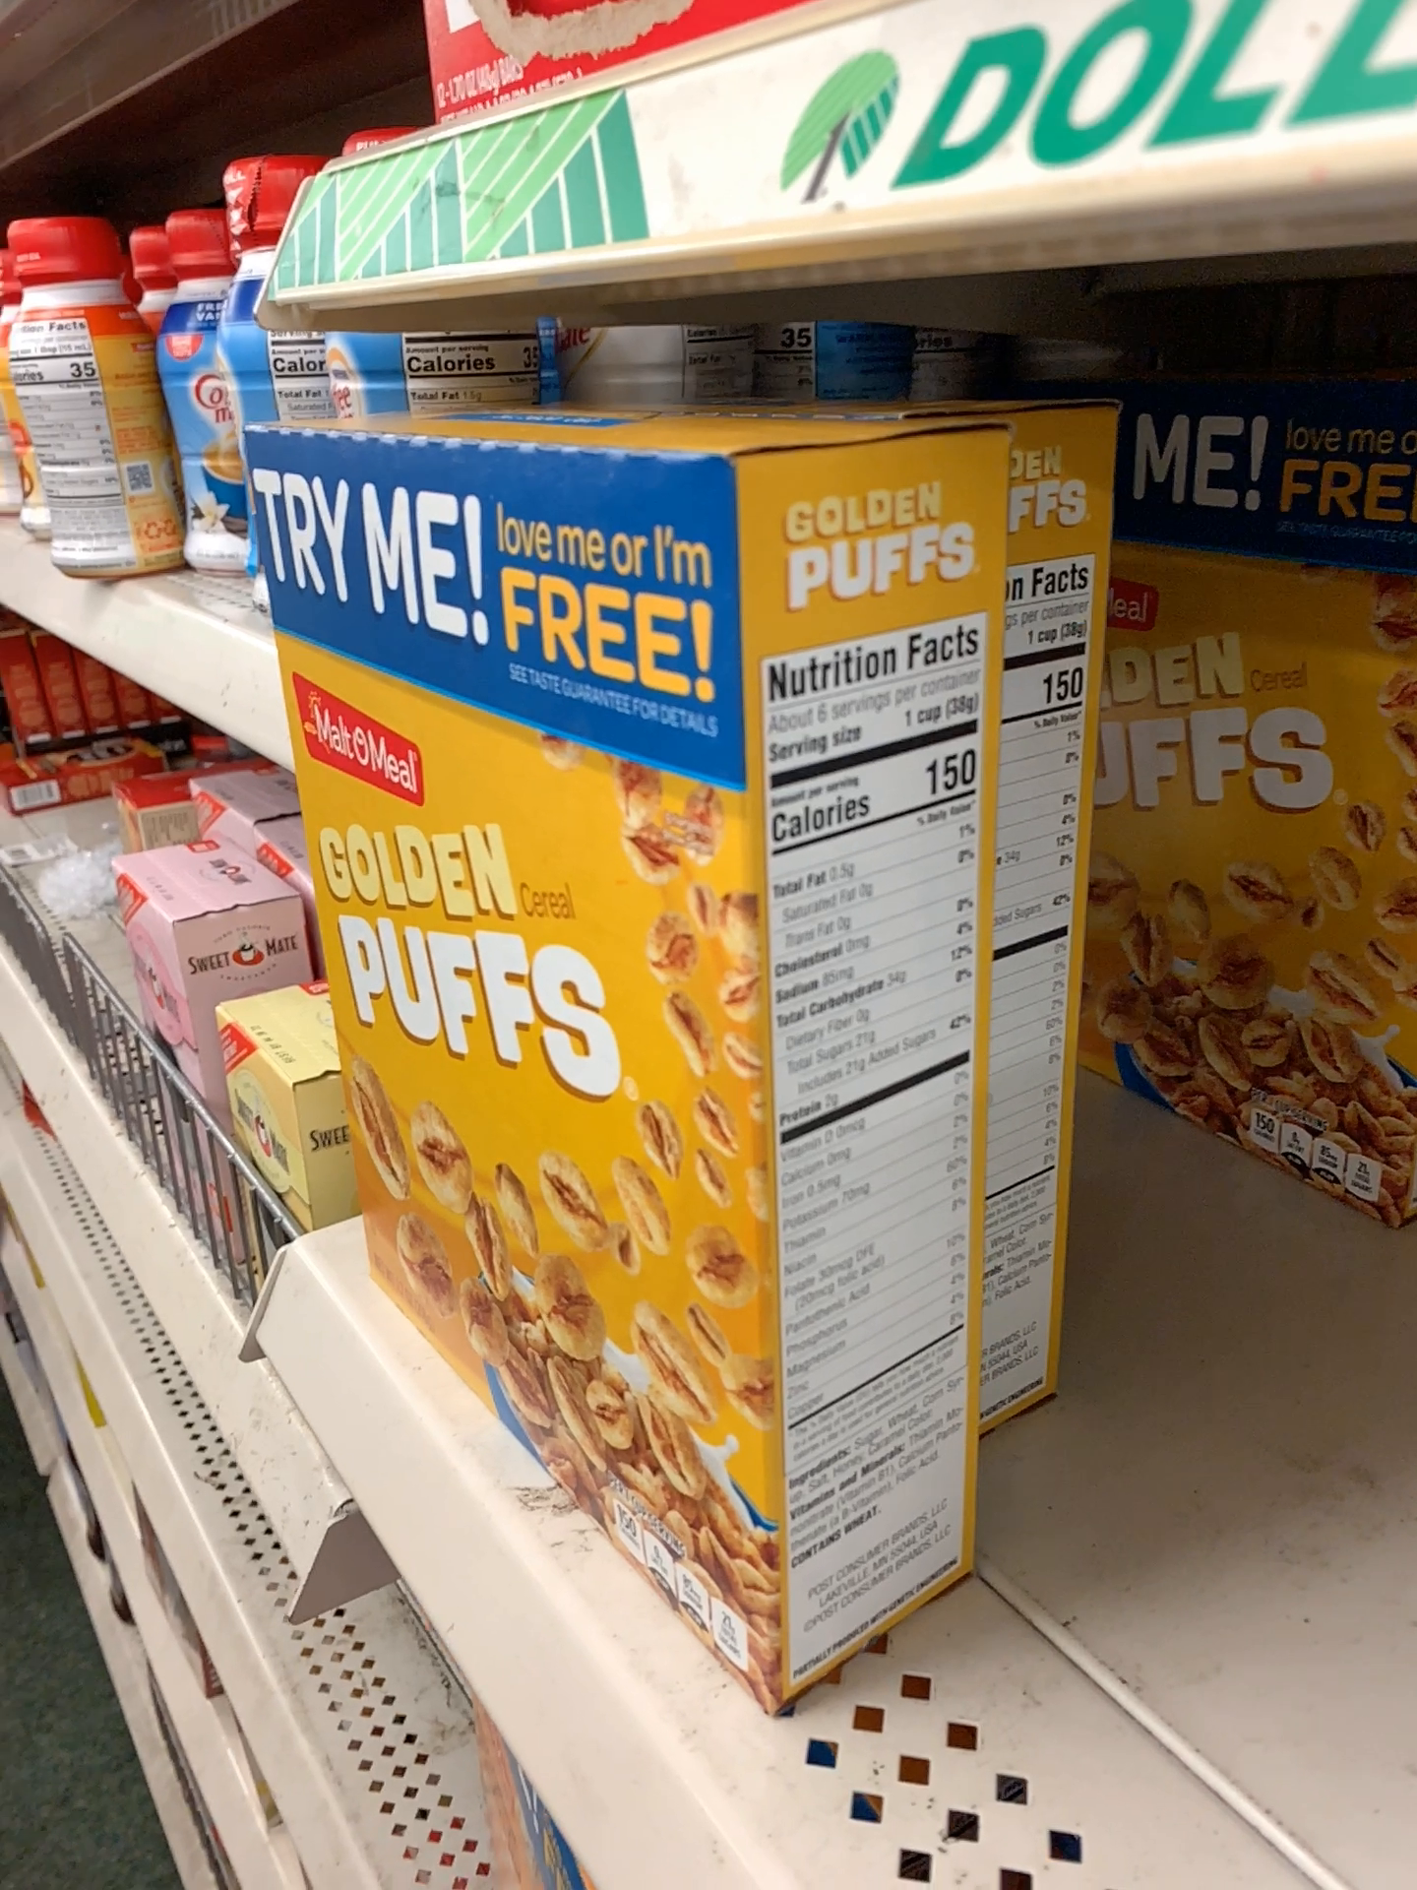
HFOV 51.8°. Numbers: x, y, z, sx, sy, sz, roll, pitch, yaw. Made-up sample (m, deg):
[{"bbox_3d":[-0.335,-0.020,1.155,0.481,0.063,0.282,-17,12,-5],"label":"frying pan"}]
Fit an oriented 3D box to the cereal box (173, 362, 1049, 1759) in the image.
[{"bbox_3d":[-0.029,0.002,0.296,0.060,0.219,0.191,-17,26,-32],"label":"cereal box"}]
